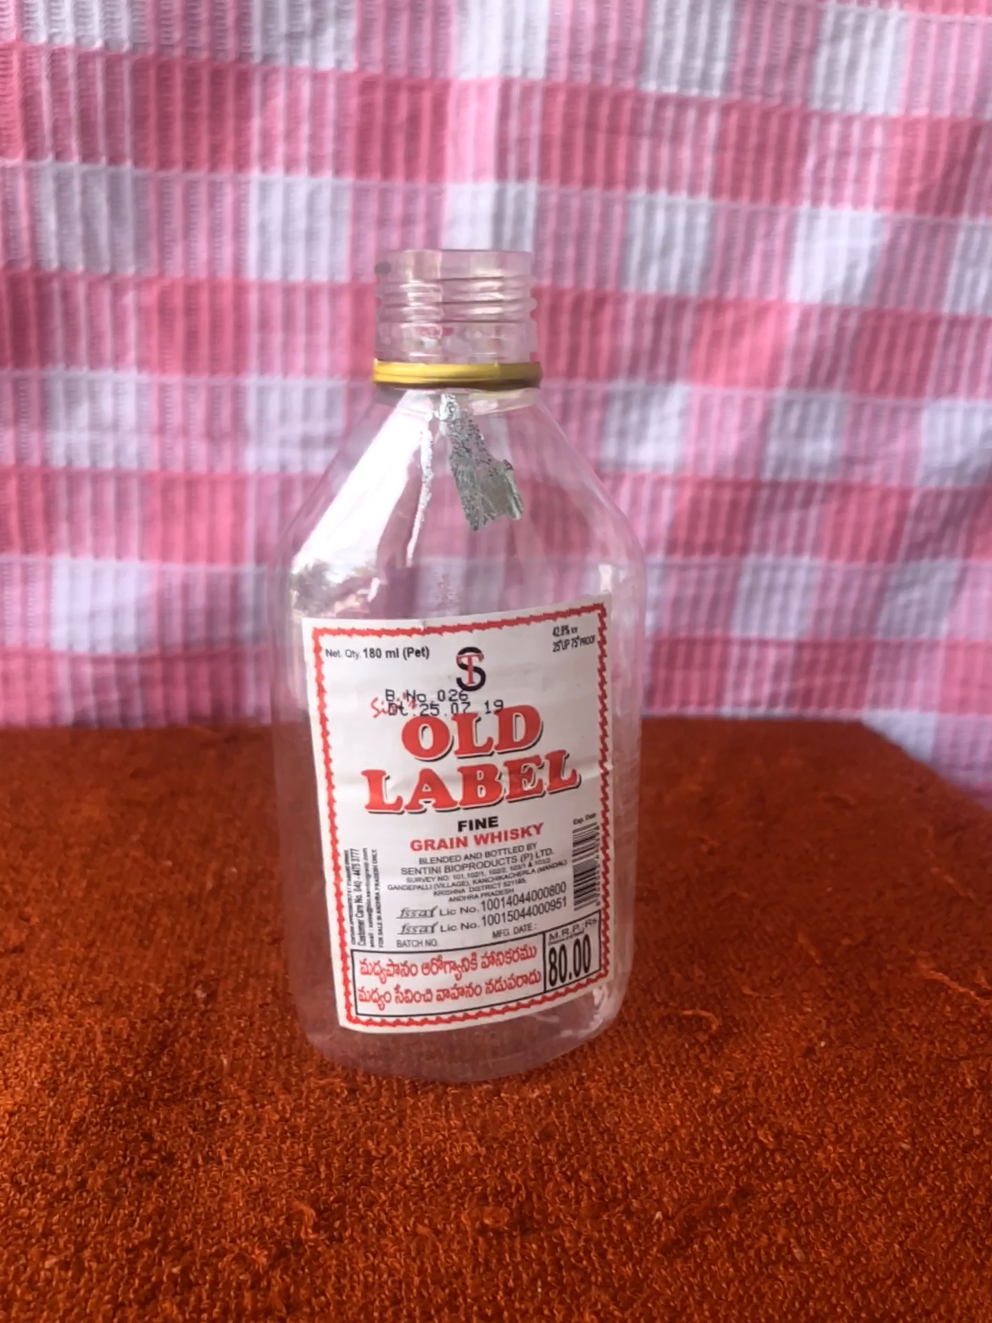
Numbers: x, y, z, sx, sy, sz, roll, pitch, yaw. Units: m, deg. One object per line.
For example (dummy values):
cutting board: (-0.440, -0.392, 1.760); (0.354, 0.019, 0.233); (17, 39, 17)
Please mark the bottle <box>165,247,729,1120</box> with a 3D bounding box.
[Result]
bottle: (-0.010, 0.002, 0.185); (0.070, 0.129, 0.050); (-1, 21, -8)
